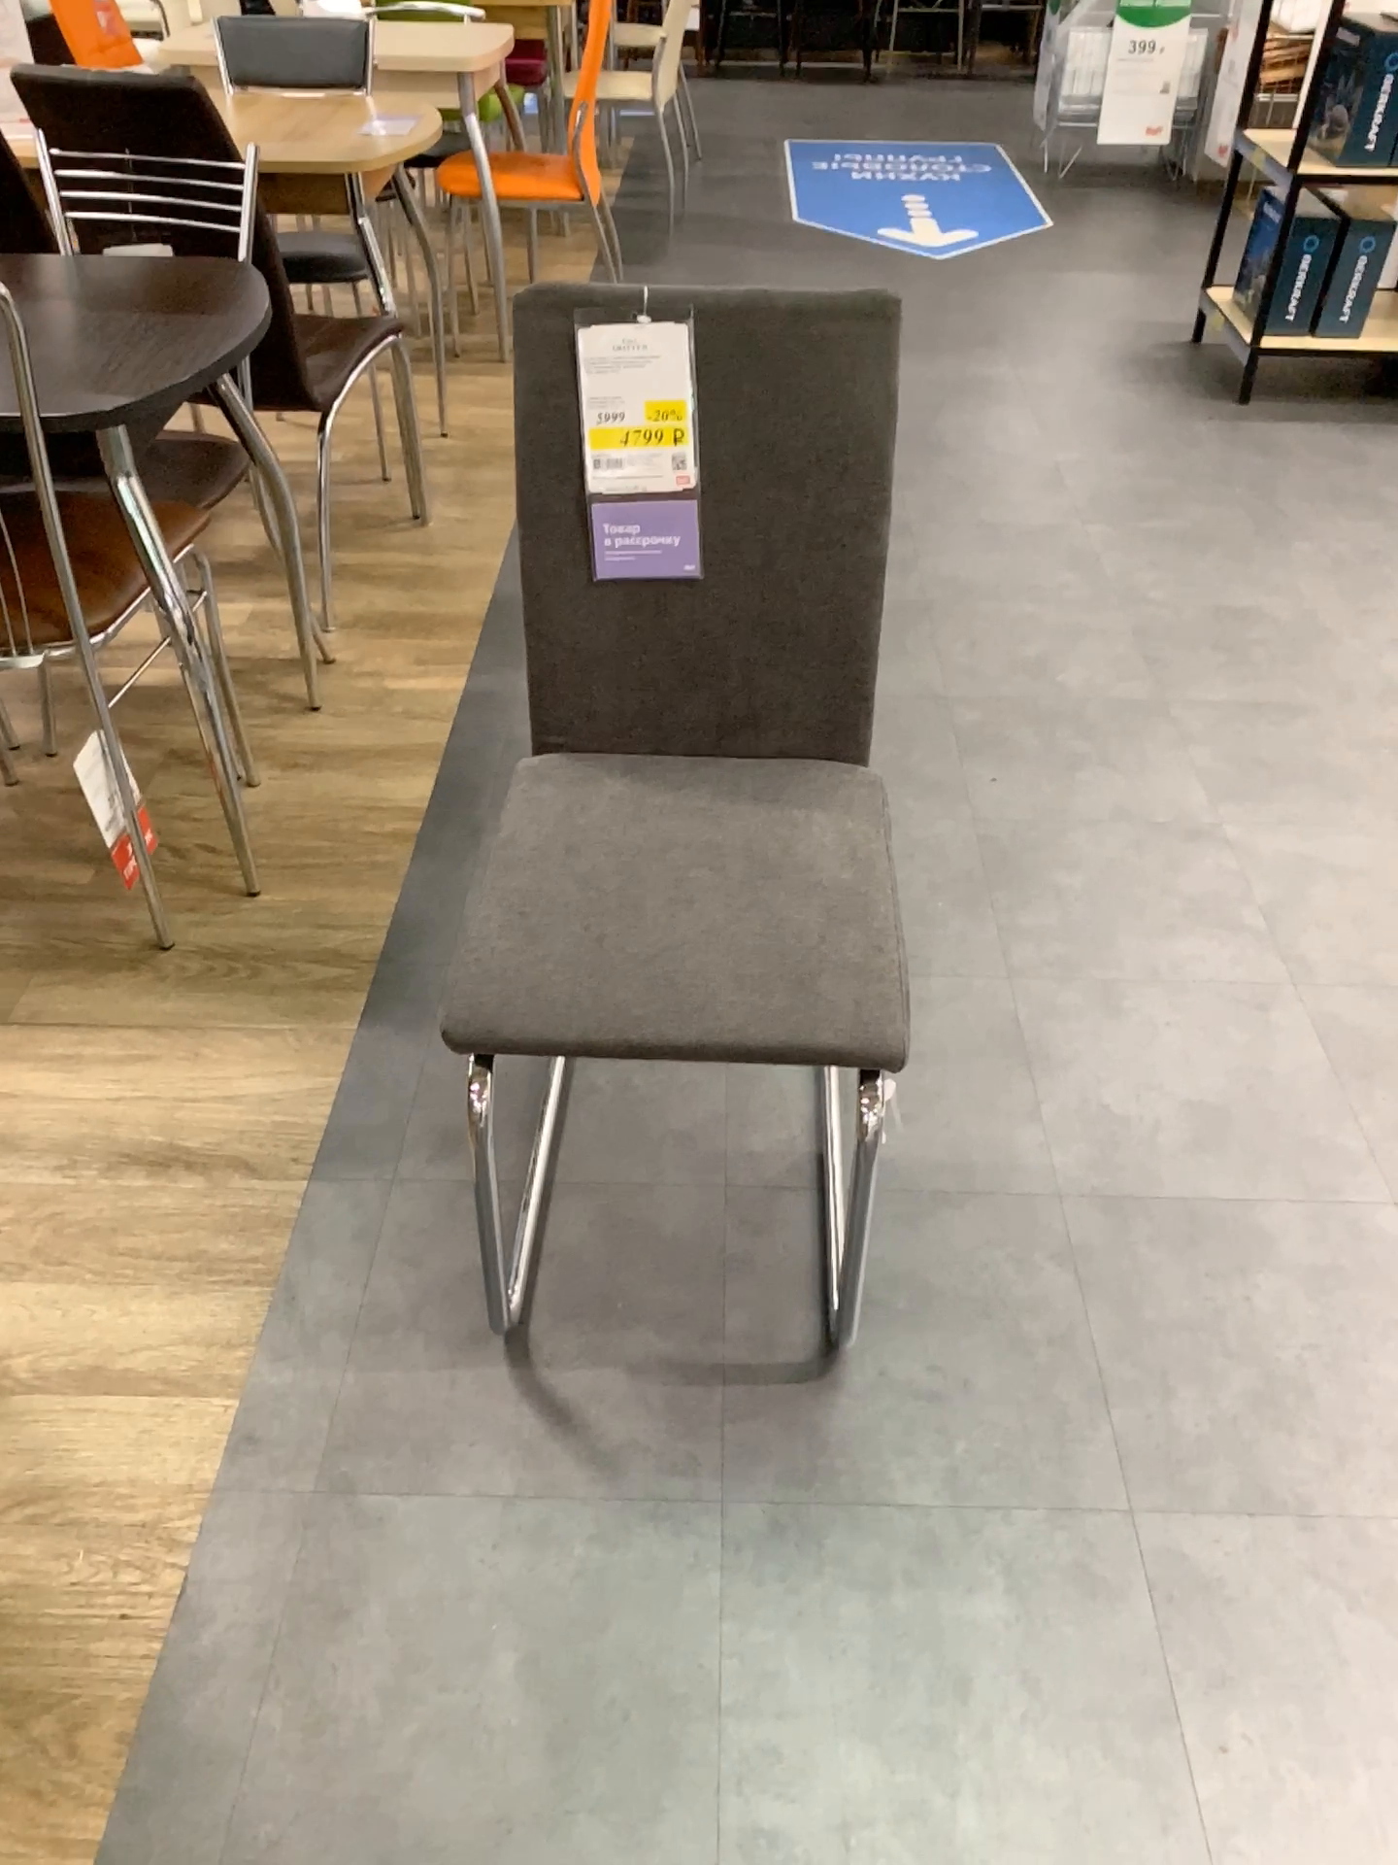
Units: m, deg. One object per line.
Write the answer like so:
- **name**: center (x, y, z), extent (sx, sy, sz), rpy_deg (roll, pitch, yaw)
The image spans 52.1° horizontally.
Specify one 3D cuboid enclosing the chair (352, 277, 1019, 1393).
- **chair**: center (-0.007, -0.066, 1.445), extent (0.435, 0.974, 0.542), rpy_deg (2, 38, 1)
